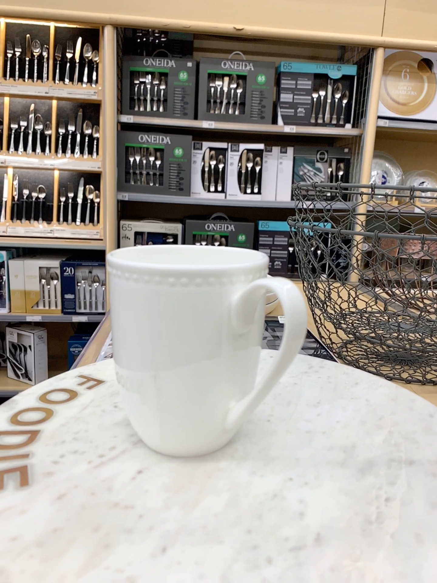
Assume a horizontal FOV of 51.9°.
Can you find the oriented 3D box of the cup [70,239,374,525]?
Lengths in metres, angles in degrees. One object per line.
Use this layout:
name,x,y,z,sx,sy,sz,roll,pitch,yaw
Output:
cup,-0.003,0.027,0.240,0.125,0.094,0.096,14,16,43
